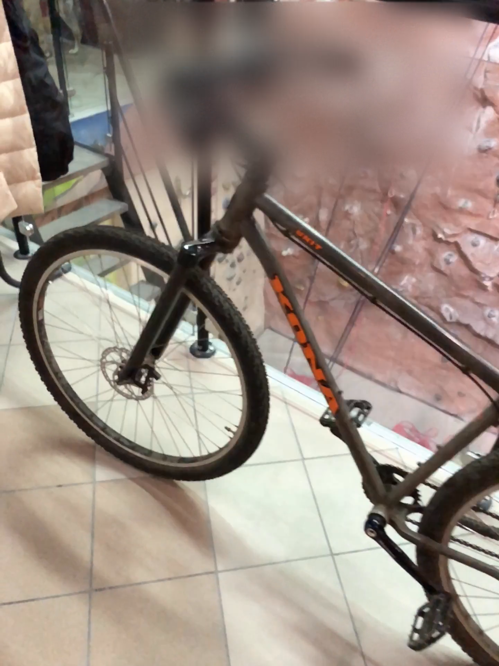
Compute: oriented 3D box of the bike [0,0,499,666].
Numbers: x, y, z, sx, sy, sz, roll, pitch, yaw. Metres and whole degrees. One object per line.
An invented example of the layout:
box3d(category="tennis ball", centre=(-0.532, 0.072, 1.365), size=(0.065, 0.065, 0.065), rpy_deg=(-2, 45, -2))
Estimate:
box3d(category="bike", centre=(0.250, 0.068, 1.076), size=(1.822, 1.099, 0.752), rpy_deg=(25, 43, 19))
